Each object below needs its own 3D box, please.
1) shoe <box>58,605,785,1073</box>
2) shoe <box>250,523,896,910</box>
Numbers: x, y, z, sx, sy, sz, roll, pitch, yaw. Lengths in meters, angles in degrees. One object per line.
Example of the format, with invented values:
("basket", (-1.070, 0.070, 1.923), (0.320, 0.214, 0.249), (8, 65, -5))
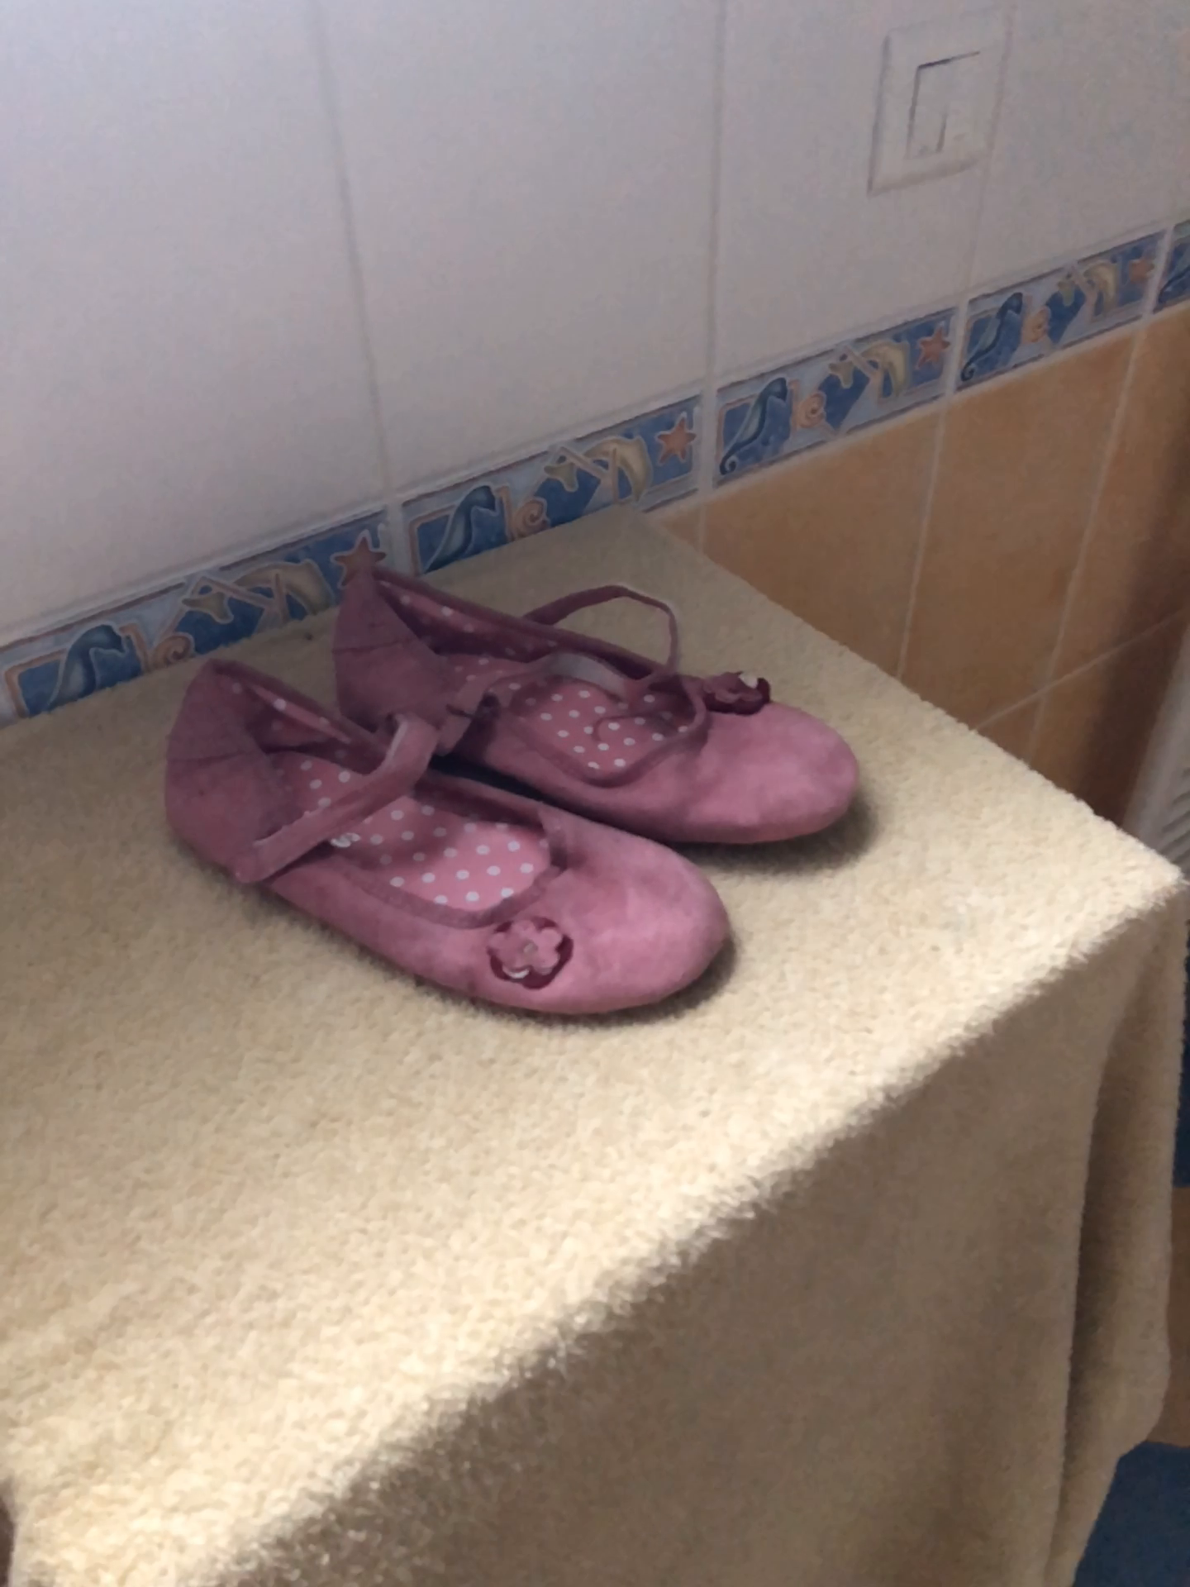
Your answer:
("shoe", (-0.063, 0.006, 0.475), (0.240, 0.050, 0.101), (18, 45, 21))
("shoe", (-0.011, -0.041, 0.538), (0.240, 0.050, 0.101), (18, 45, 21))
